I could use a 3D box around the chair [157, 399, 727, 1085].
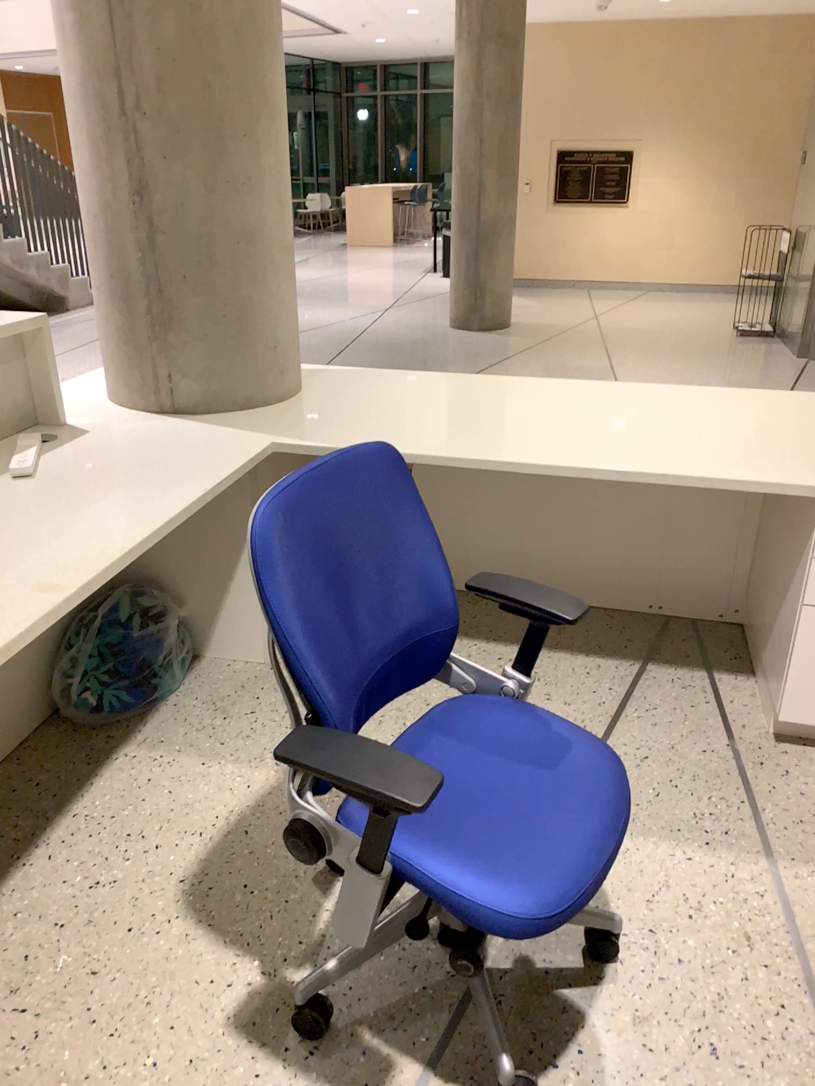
[{"bbox_3d":[0.099,0.313,1.435,0.605,0.908,0.701,13,27,27],"label":"chair"}]
